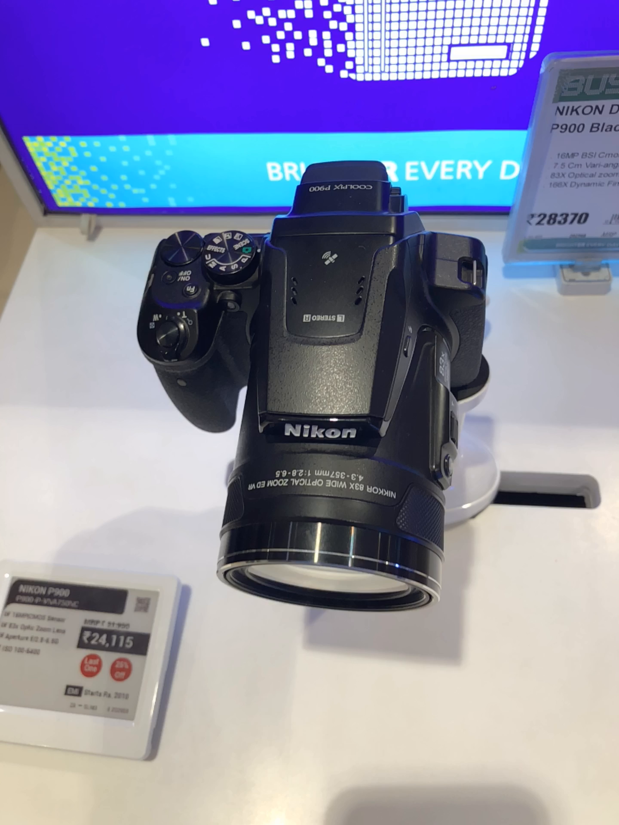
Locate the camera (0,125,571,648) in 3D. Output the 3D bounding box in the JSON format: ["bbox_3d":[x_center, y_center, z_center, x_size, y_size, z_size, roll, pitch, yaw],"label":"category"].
[{"bbox_3d":[-0.004,-0.008,0.234,0.140,0.100,0.141,2,59,6],"label":"camera"}]
